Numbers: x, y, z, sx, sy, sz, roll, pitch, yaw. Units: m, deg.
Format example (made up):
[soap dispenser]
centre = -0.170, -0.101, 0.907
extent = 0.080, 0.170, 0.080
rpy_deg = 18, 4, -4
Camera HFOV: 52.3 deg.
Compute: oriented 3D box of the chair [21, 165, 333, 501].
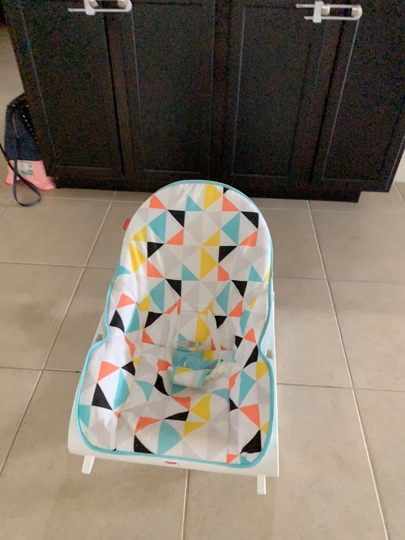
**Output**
[chair]
centre = -0.022, 0.124, 1.133
extent = 0.530, 0.485, 0.737
rpy_deg = 3, 42, 3
